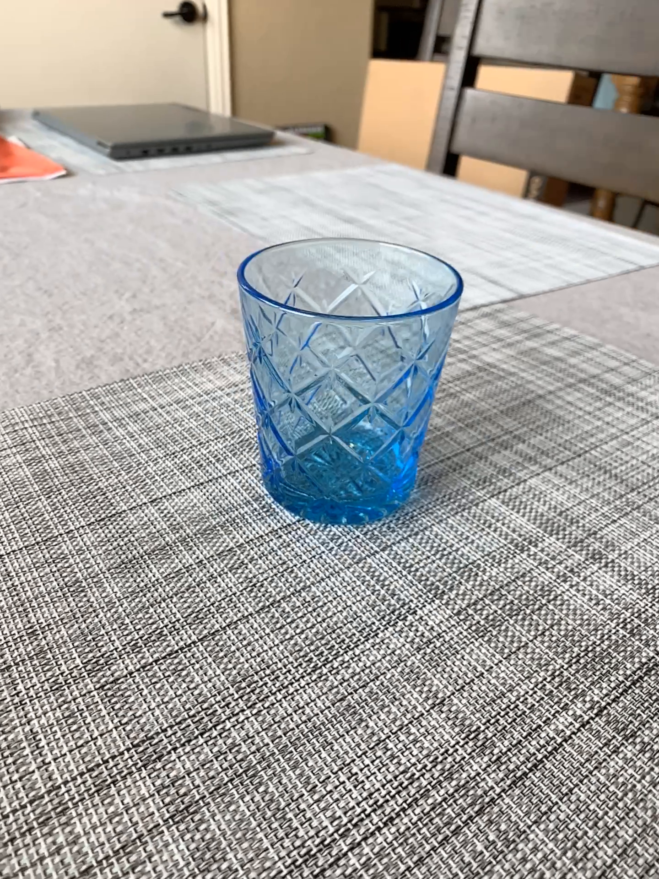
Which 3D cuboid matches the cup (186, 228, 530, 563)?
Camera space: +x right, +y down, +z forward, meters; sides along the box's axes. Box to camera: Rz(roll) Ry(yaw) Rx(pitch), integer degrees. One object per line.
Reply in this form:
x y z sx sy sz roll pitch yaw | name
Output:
0.007 -0.025 0.274 0.093 0.085 0.088 2 32 -1 | cup
